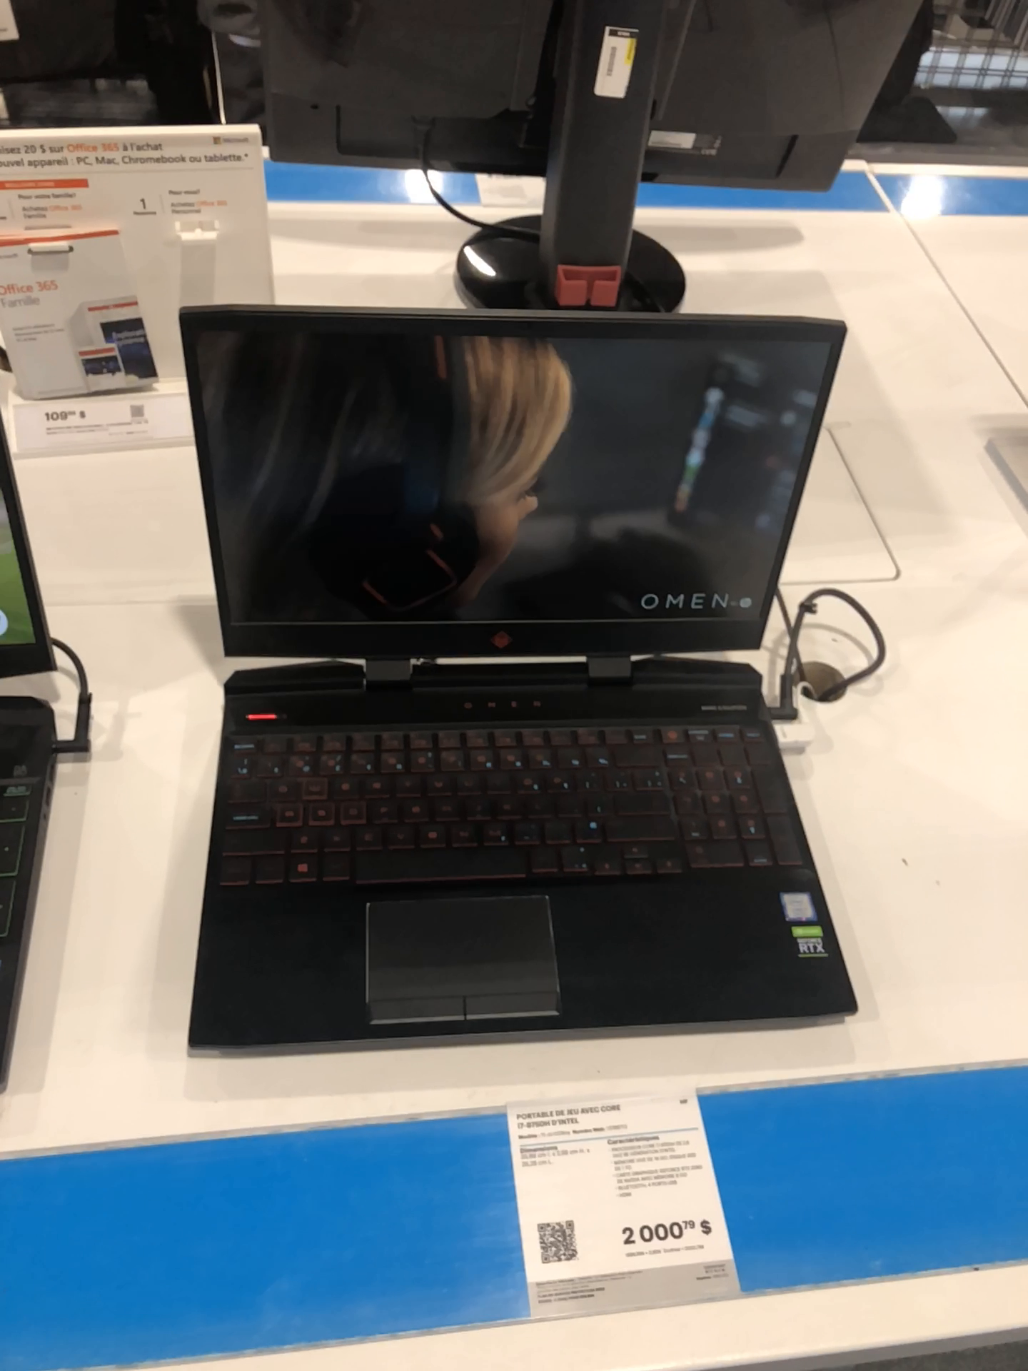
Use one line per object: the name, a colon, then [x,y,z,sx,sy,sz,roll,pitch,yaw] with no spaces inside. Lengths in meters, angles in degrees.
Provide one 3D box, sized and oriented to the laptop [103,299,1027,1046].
laptop: [0.008,-0.013,0.611,0.355,0.239,0.294,-1,50,-7]
